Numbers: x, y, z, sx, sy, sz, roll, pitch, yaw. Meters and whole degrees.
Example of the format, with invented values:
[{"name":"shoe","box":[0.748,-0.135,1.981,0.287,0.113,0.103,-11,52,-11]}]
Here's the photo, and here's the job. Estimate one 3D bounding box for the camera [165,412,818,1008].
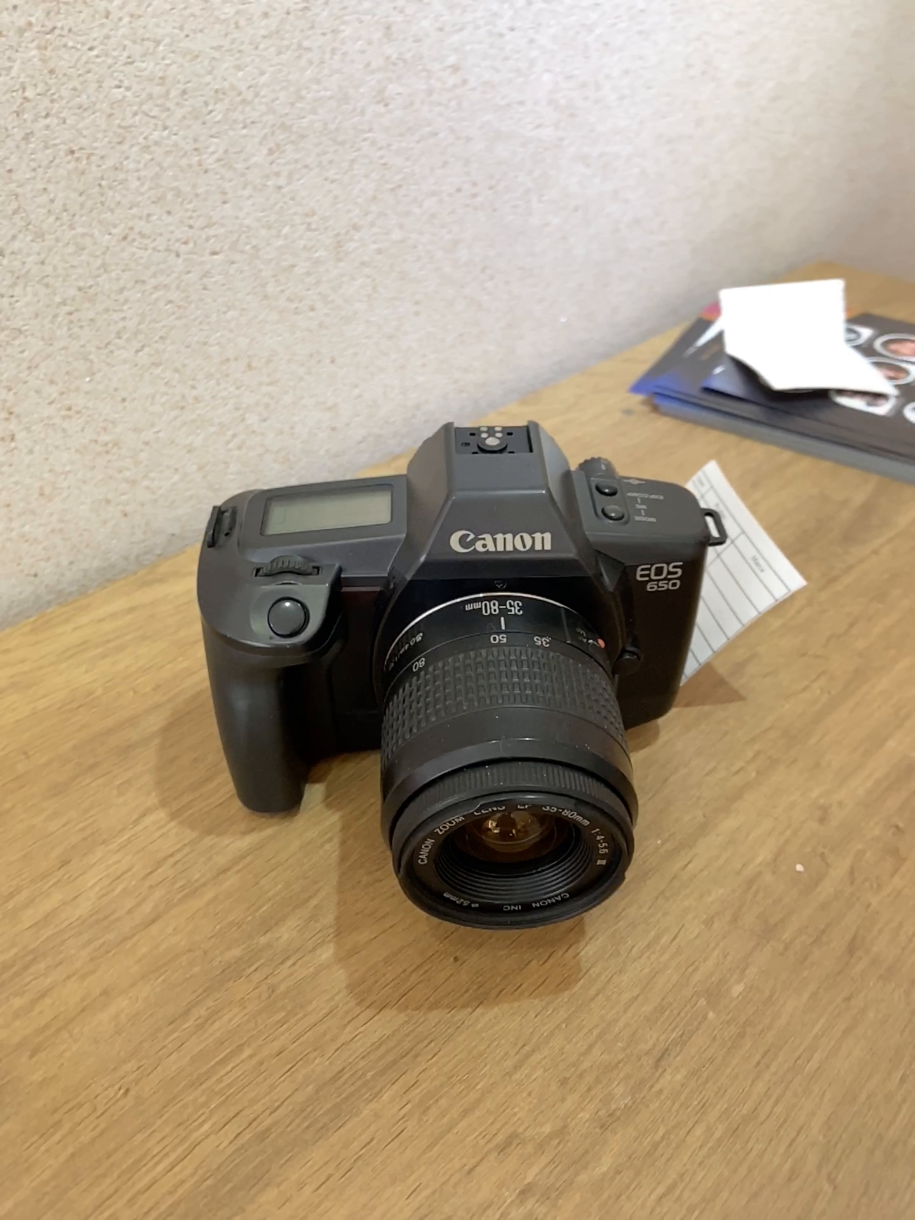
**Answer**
[{"name":"camera","box":[0.005,0.022,0.289,0.140,0.099,0.141,-4,38,-2]}]
